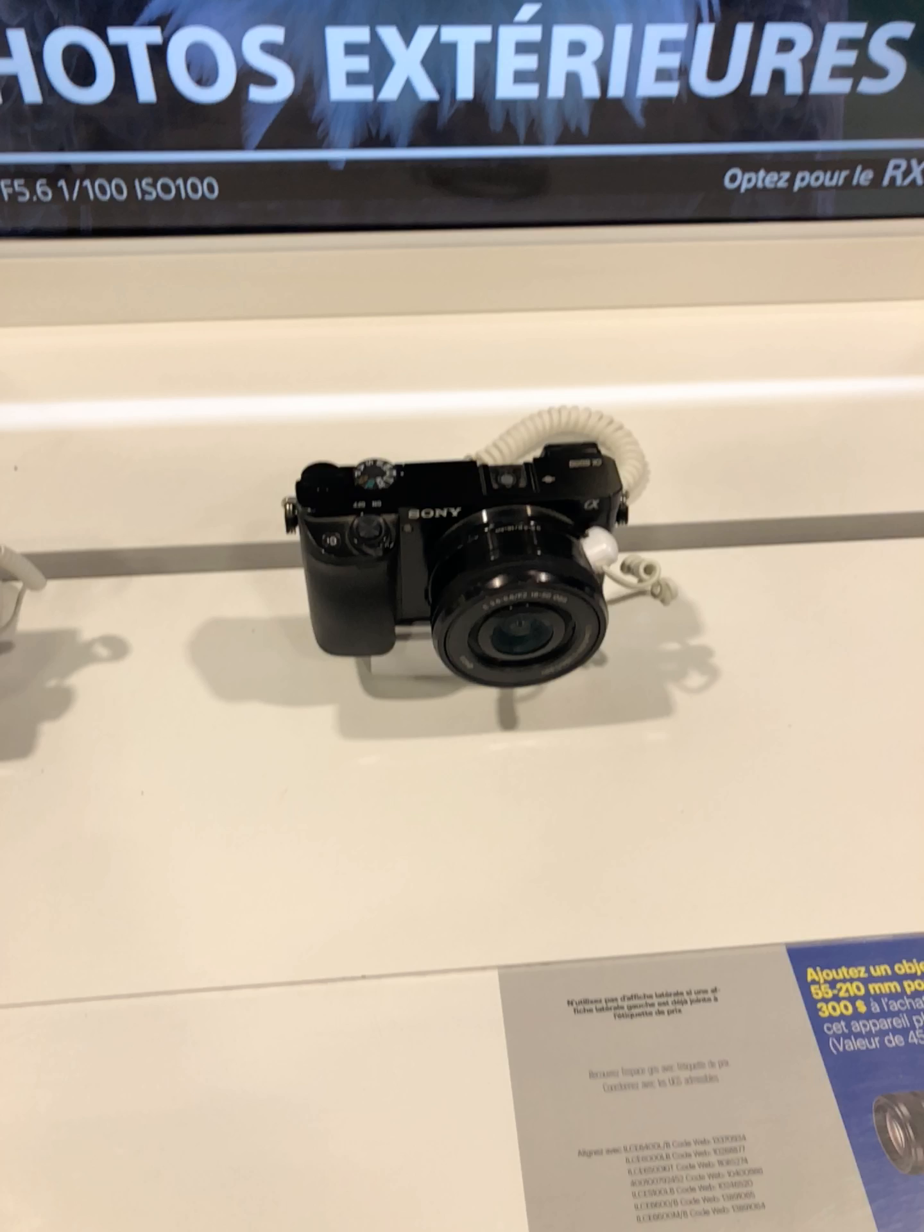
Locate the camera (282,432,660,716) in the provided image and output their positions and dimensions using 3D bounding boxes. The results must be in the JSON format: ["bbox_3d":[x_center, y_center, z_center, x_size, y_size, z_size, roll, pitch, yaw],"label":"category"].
[{"bbox_3d":[0.000,-0.016,0.401,0.130,0.077,0.065,-5,47,-5],"label":"camera"}]
